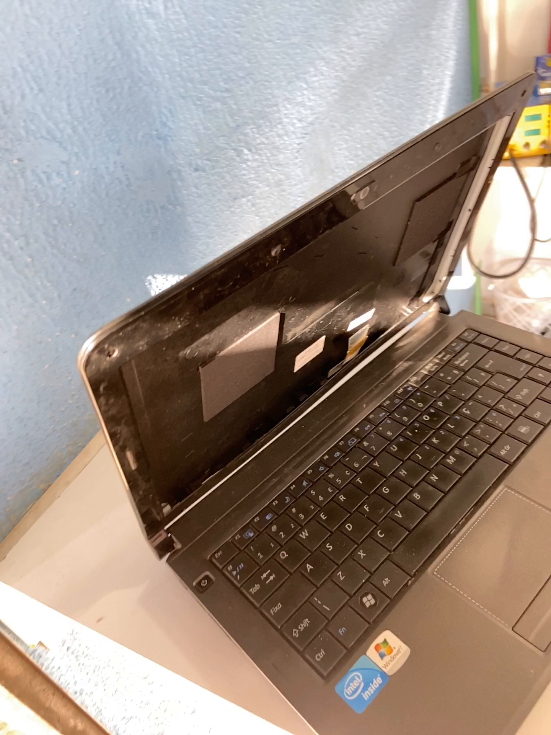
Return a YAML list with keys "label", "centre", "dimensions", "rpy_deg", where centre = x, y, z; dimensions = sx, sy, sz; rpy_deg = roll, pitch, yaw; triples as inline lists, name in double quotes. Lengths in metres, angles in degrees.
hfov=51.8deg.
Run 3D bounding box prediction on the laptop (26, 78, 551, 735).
- label: "laptop"
  centre: [0.093, -0.002, 0.329]
  dimensions: [0.331, 0.206, 0.206]
  rpy_deg: [-37, 42, -25]
